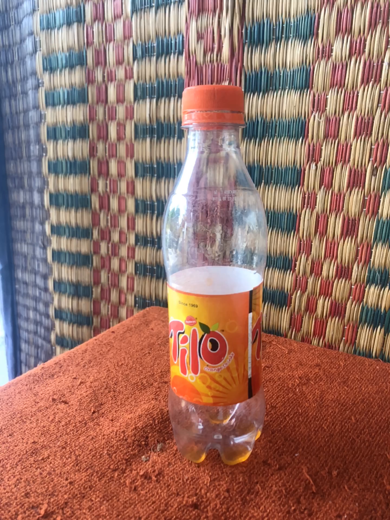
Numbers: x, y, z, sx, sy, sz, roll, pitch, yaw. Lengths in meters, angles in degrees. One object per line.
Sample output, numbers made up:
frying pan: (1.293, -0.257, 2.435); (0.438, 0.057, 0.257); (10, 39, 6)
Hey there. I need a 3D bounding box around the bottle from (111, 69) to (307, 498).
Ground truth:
bottle: (0.008, 0.011, 0.219); (0.070, 0.189, 0.050); (11, 22, 36)
